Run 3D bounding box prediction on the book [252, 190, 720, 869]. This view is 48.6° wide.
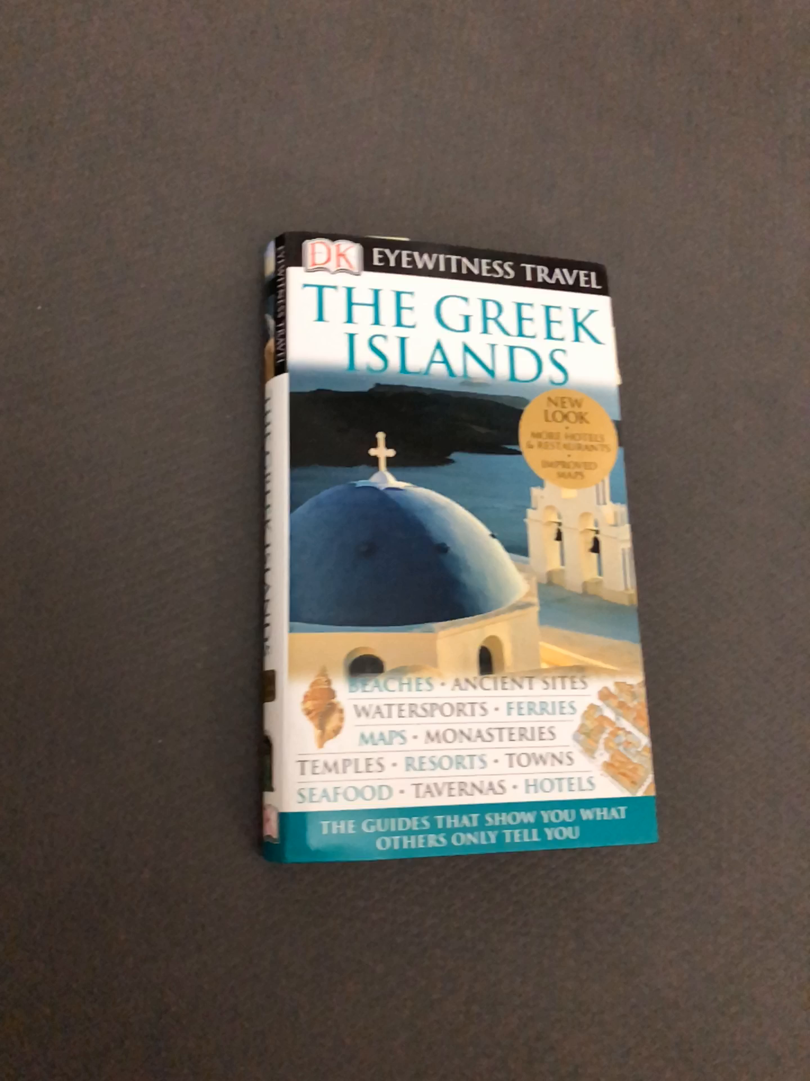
[{"bbox_3d":[0.027,-0.009,0.339,0.160,0.030,0.240,2,77,-11],"label":"book"}]
